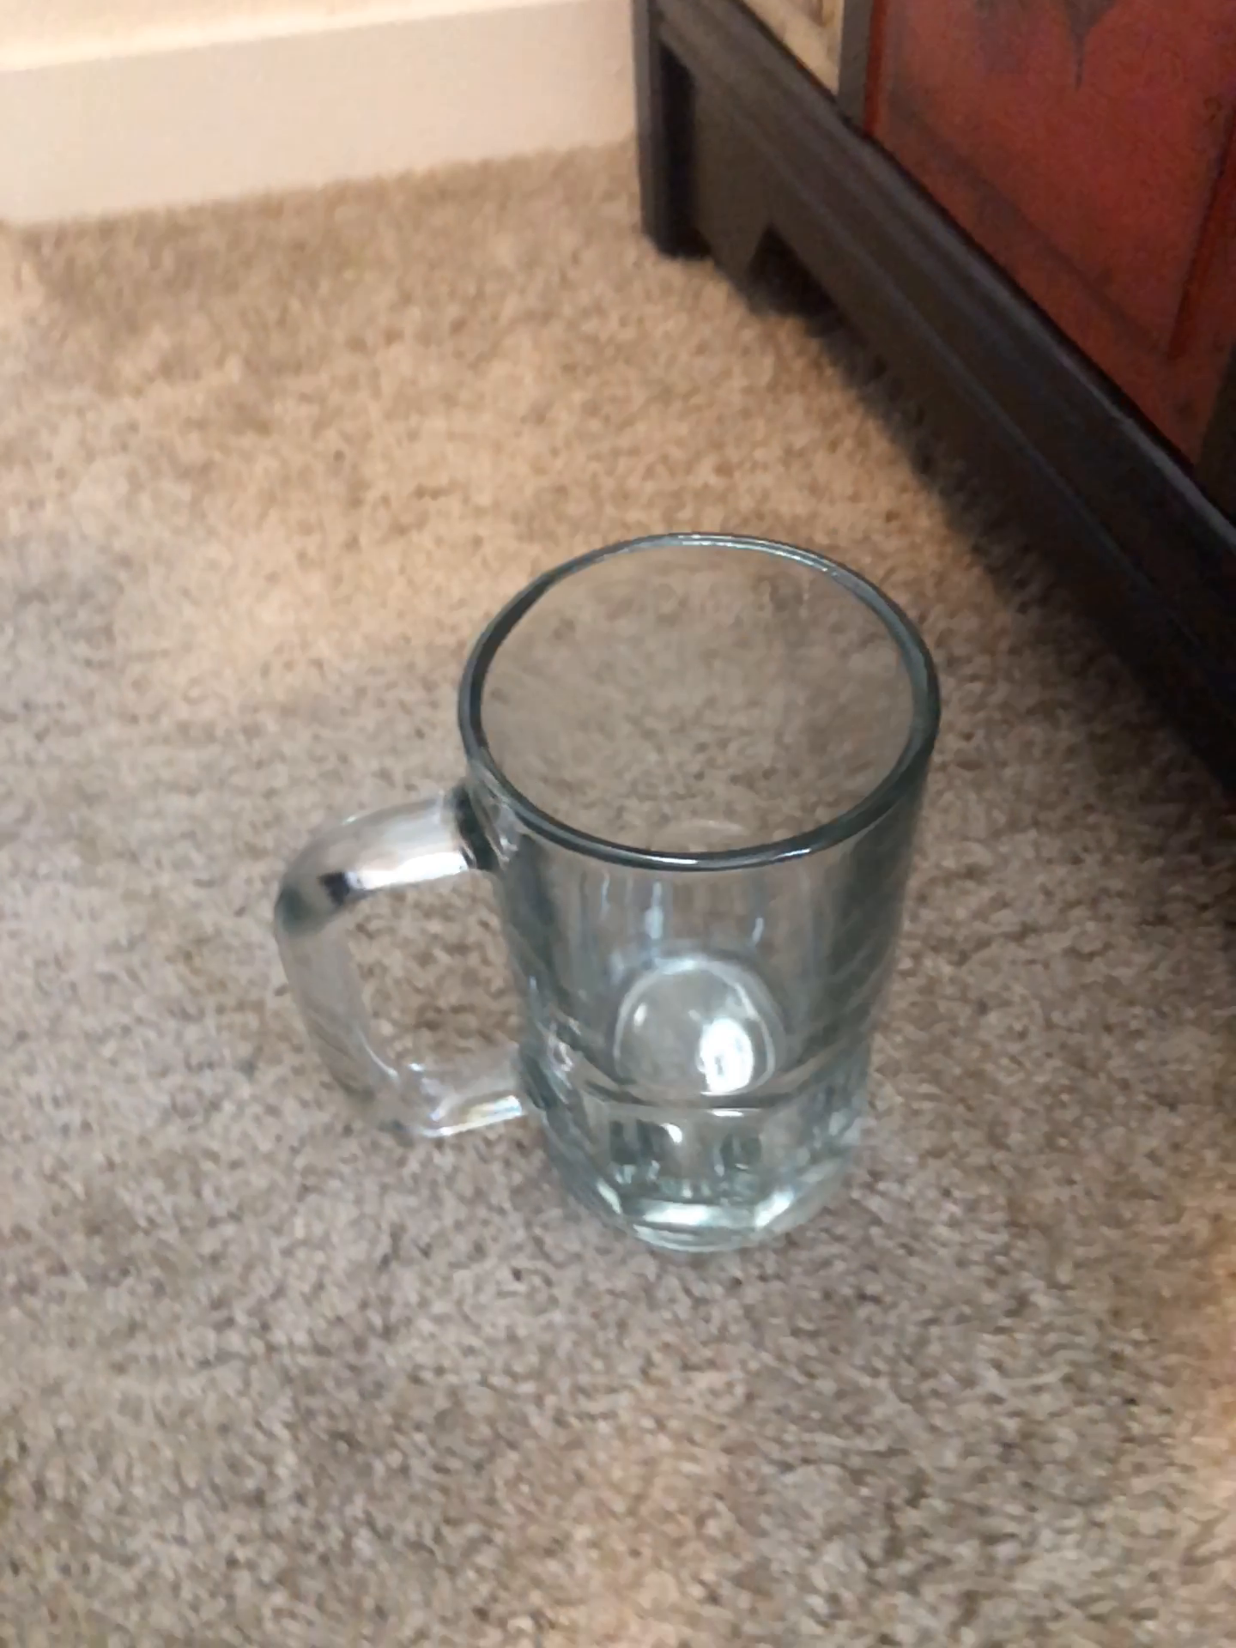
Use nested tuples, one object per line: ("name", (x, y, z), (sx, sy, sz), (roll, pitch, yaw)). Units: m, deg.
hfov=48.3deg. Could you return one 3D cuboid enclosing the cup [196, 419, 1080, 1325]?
("cup", (-0.001, 0.017, 0.302), (0.133, 0.156, 0.097), (-13, 52, -9))
